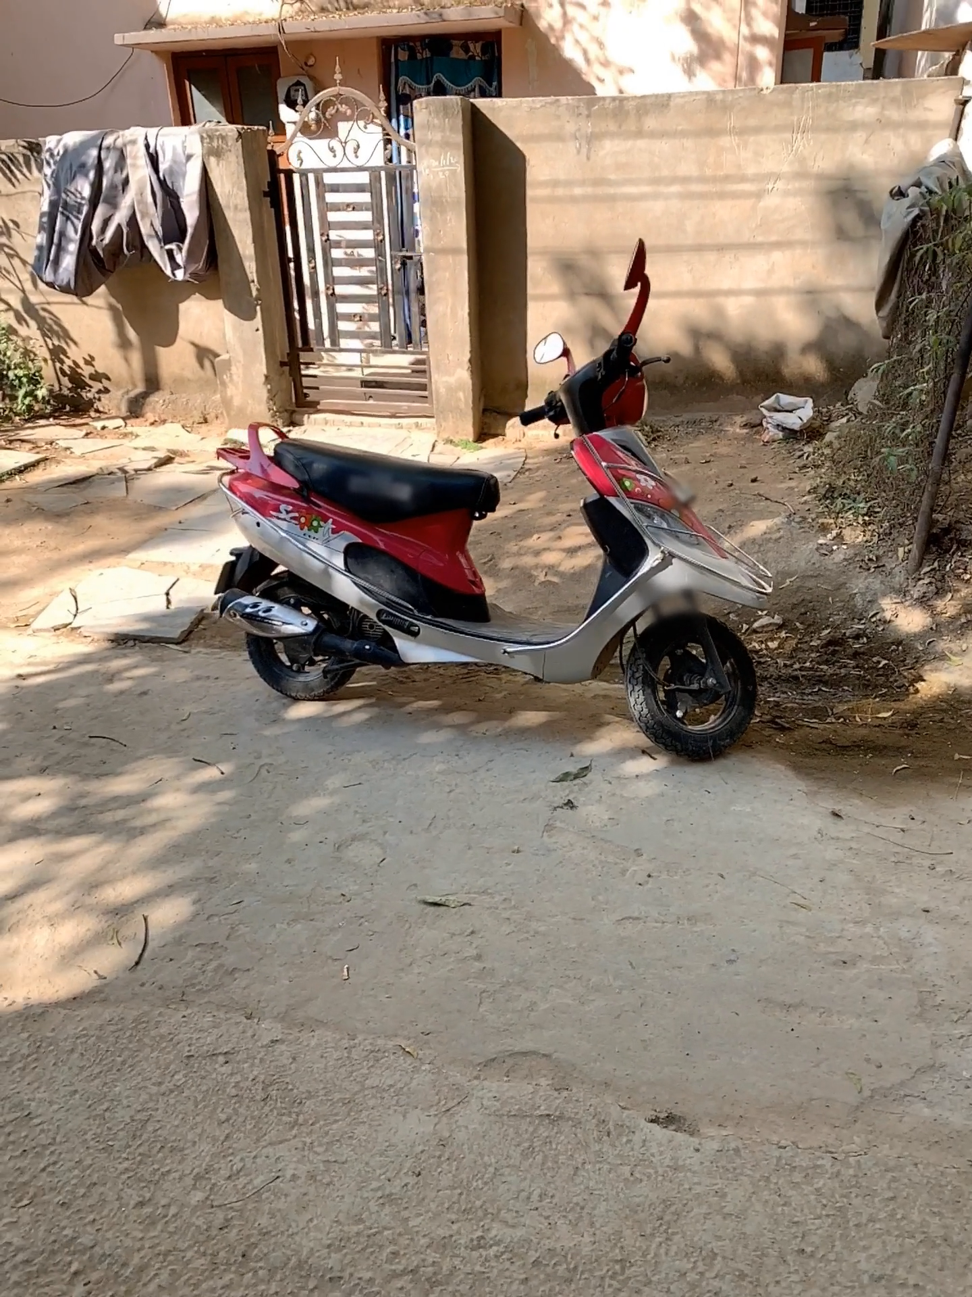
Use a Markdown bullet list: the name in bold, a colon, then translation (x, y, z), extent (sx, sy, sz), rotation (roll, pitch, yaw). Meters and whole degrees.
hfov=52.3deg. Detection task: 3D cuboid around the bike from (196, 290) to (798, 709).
- **bike**: translation (0.055, -0.434, 2.890), extent (1.494, 1.037, 0.486), rotation (3, 26, 14)
